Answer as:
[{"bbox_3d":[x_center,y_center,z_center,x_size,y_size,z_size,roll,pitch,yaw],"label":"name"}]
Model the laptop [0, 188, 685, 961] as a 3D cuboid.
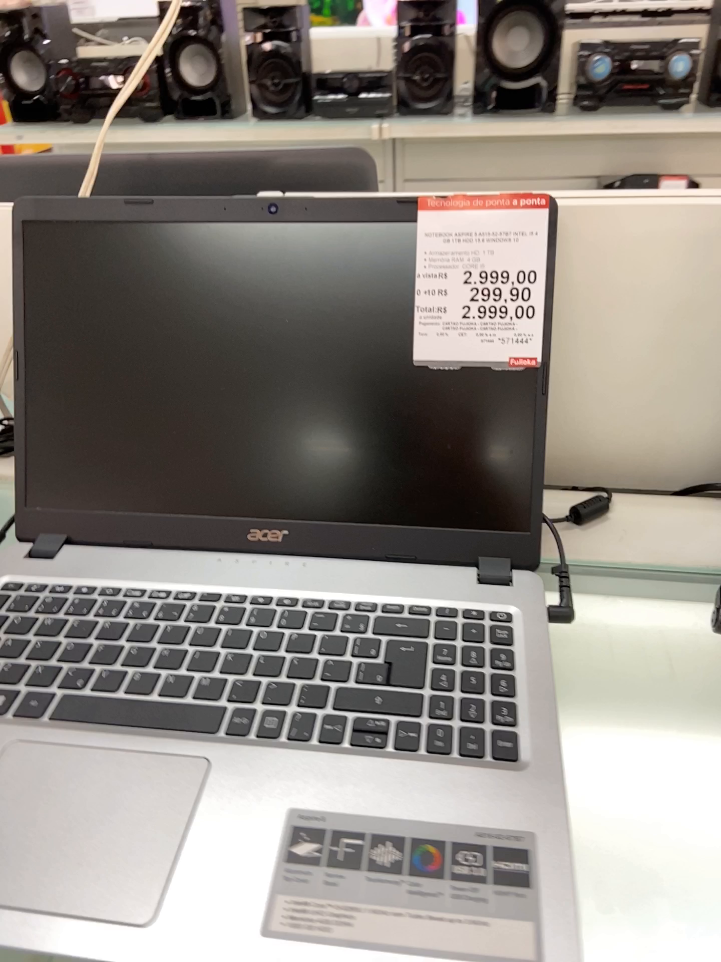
[{"bbox_3d":[-0.080,0.000,0.394,0.366,0.205,0.374,2,34,8],"label":"laptop"}]
